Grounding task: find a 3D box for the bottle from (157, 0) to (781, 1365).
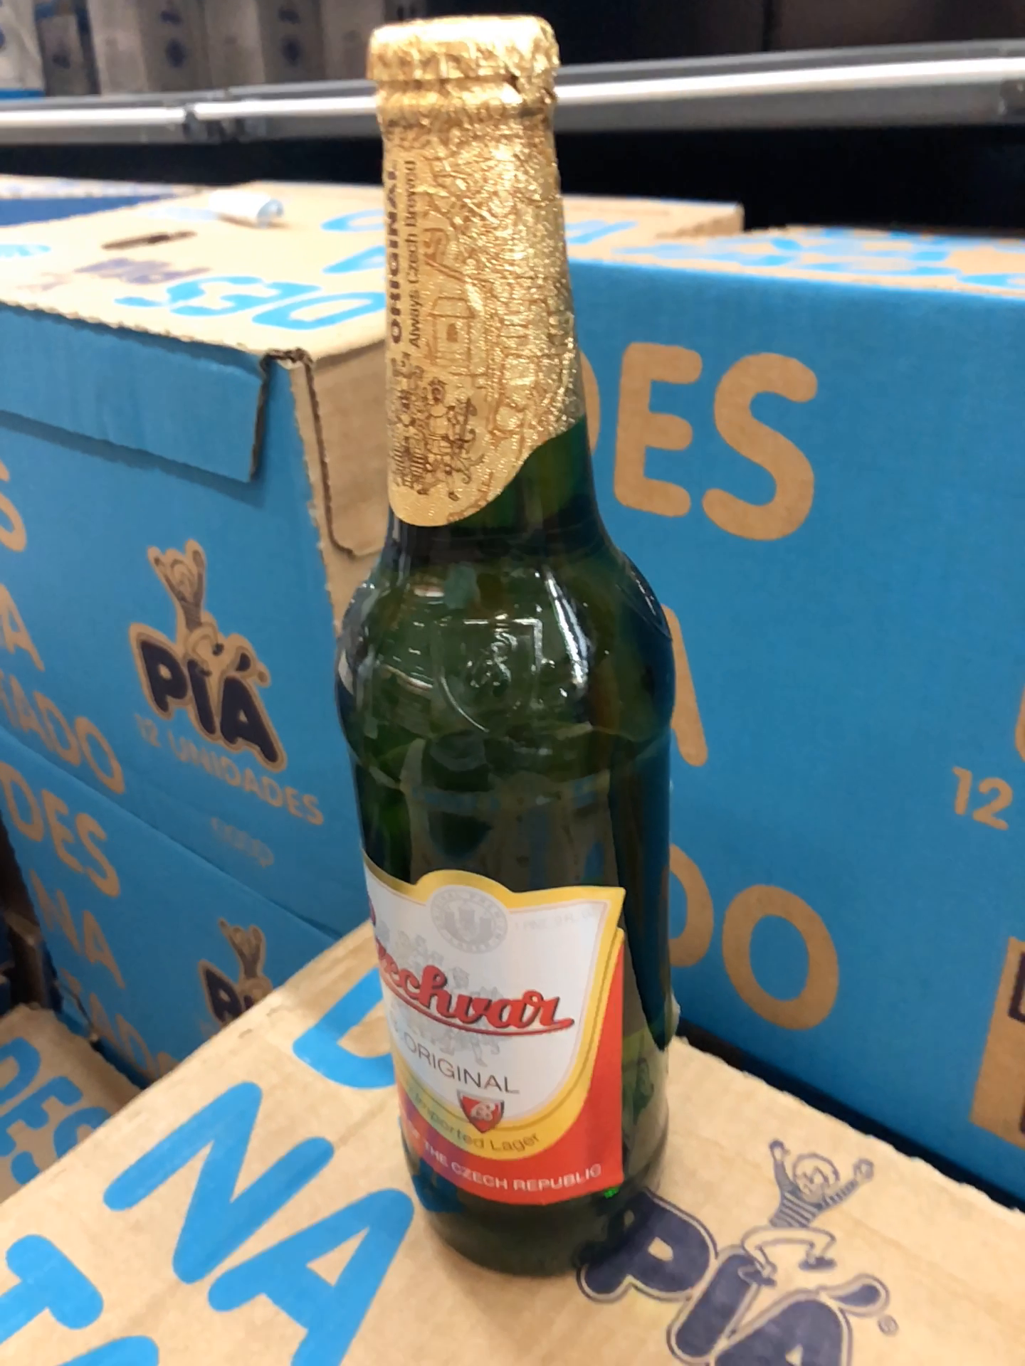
[{"bbox_3d":[-0.002,0.006,0.236,0.070,0.268,0.070,-1,25,0],"label":"bottle"}]
